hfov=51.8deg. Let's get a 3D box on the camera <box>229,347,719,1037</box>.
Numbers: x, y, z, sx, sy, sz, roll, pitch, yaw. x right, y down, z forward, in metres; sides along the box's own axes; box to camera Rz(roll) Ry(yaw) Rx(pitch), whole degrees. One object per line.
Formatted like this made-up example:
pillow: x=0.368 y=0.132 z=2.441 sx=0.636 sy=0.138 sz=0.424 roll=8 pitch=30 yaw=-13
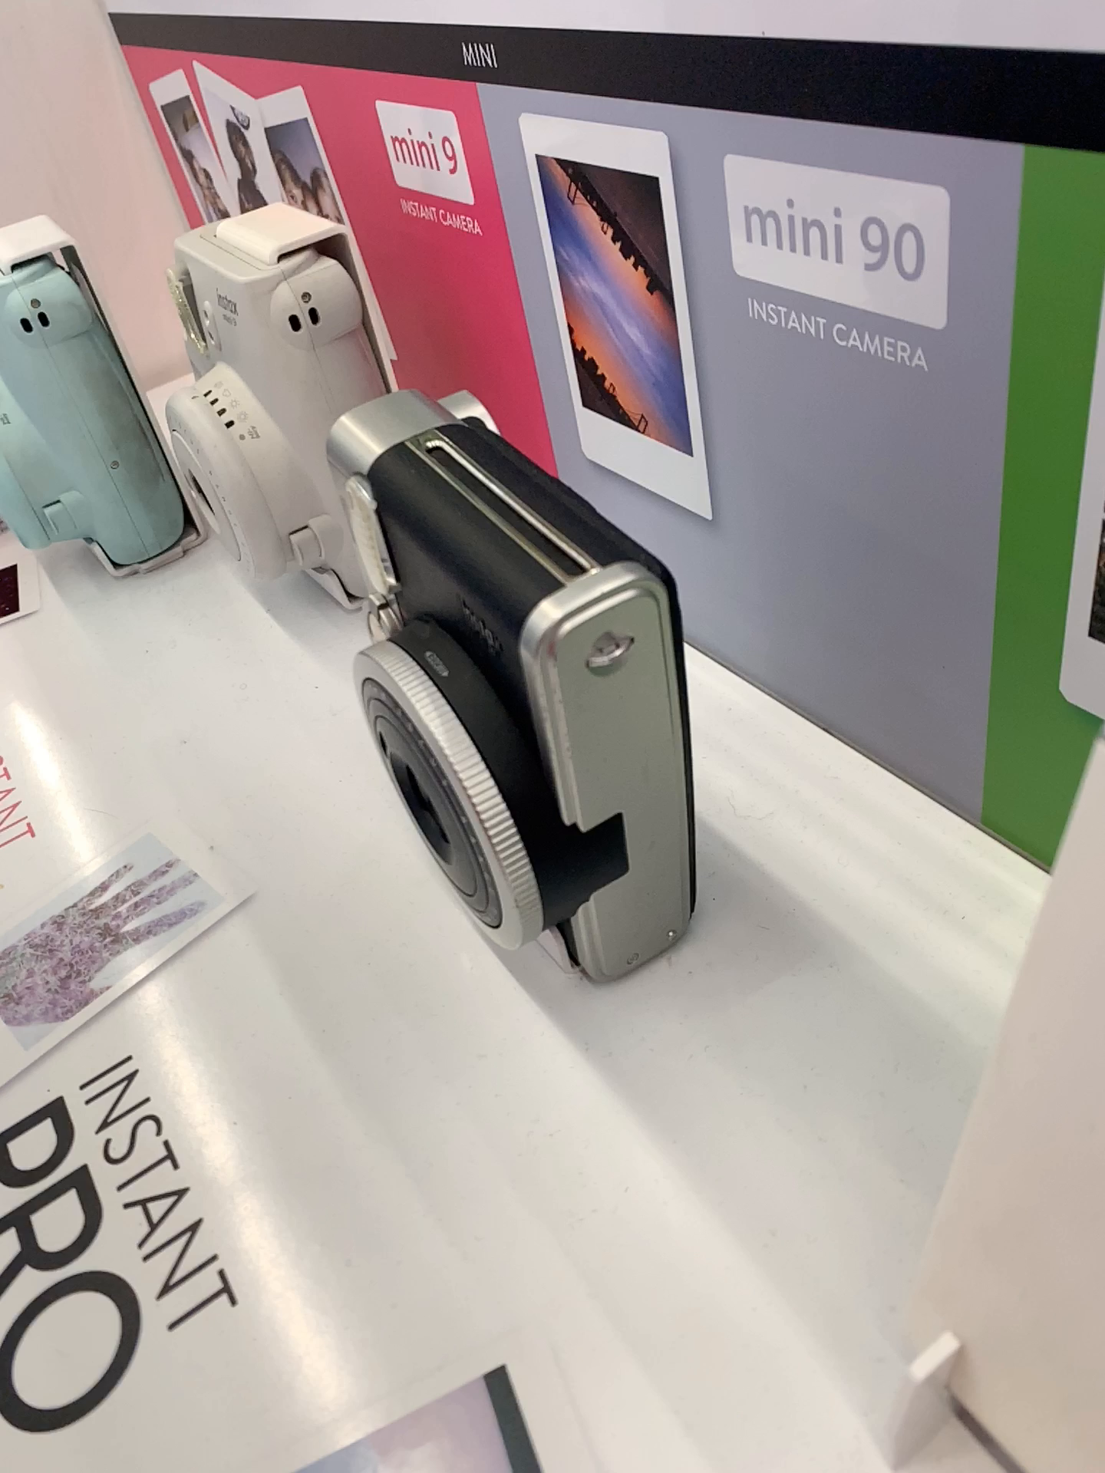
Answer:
camera: x=-0.016 y=-0.011 z=0.255 sx=0.050 sy=0.109 sz=0.101 roll=-27 pitch=45 yaw=-15
